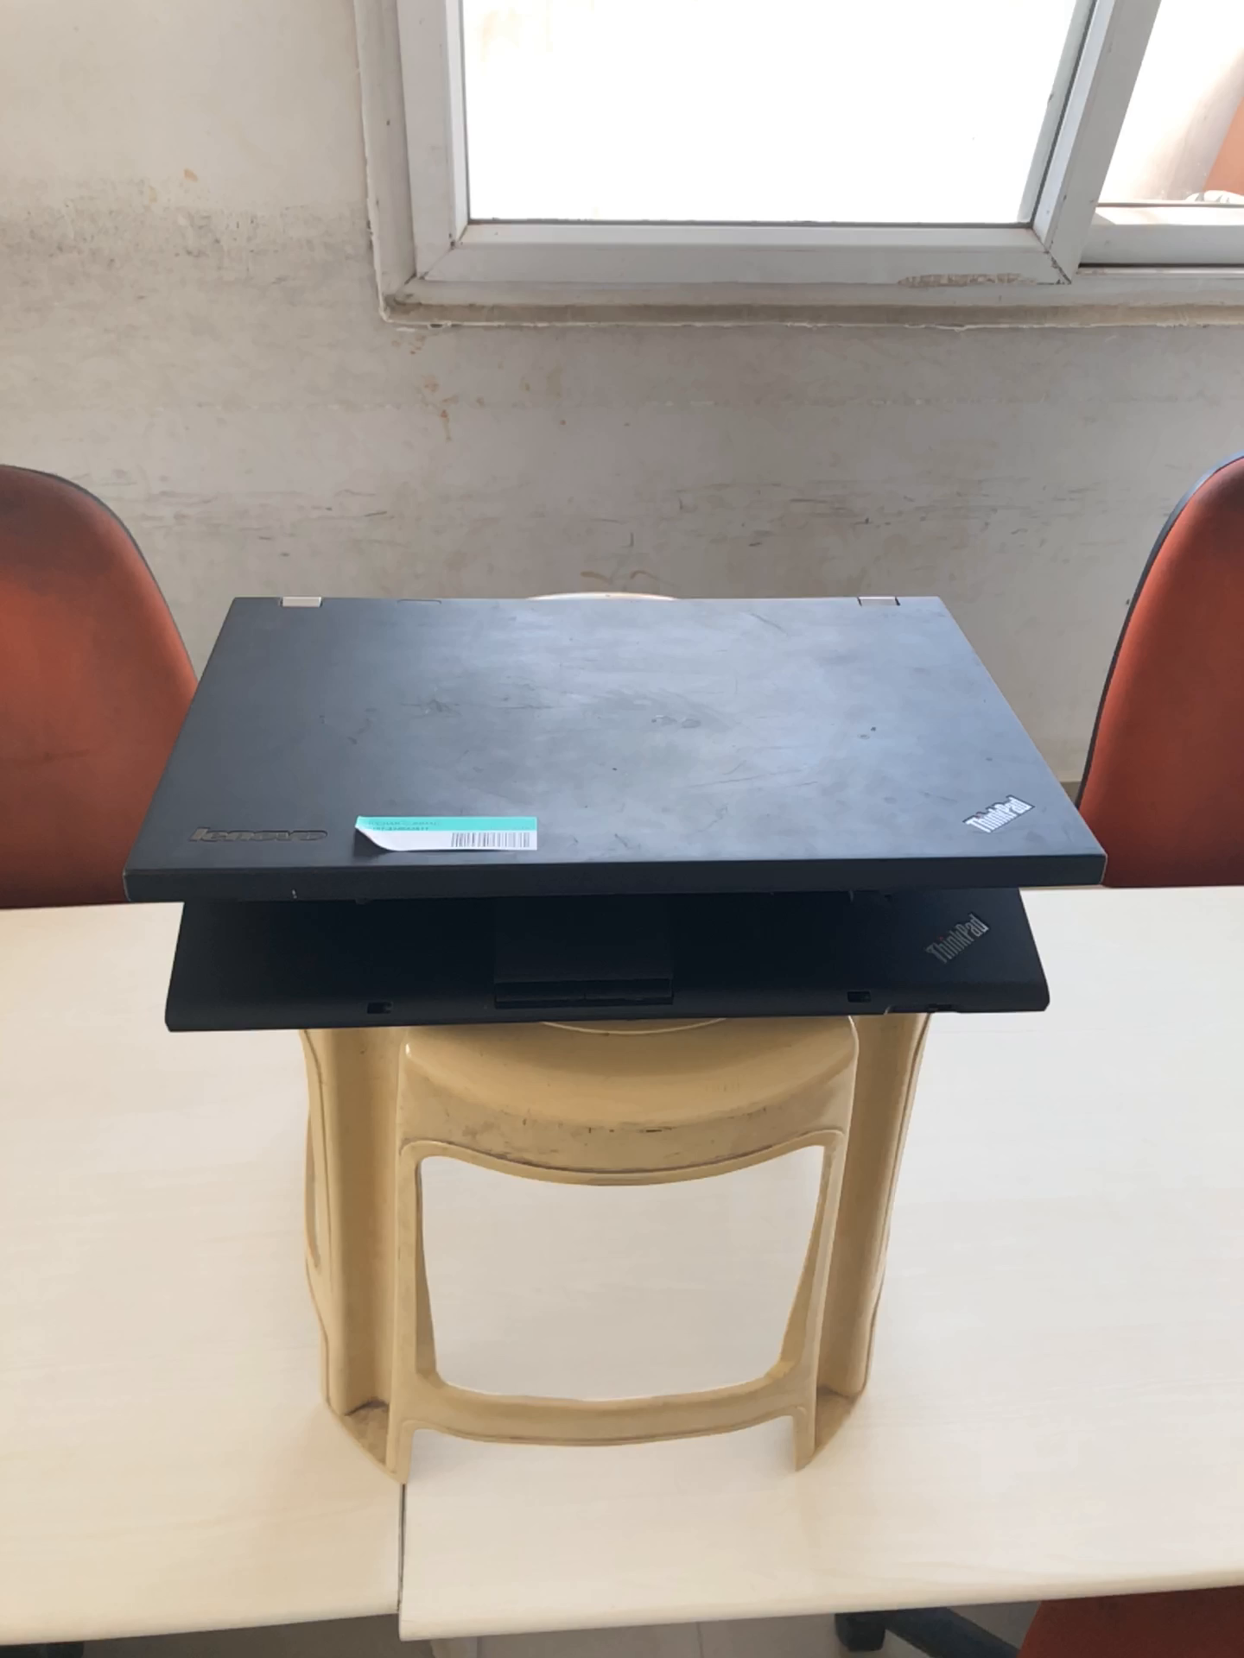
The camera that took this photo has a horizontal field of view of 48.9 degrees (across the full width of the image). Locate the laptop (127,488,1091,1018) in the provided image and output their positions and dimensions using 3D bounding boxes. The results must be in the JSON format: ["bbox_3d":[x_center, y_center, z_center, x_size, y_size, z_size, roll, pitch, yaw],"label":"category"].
[{"bbox_3d":[-0.006,-0.045,0.613,0.362,0.074,0.236,-1,52,-5],"label":"laptop"}]
